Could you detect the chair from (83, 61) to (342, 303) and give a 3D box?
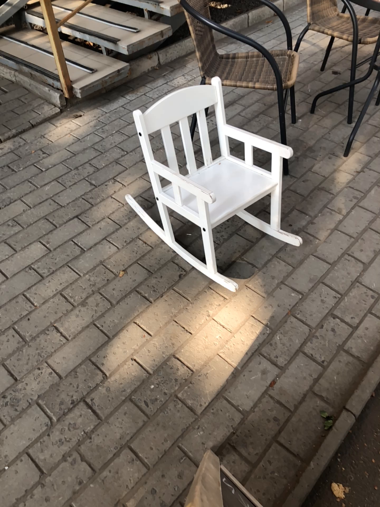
[{"bbox_3d":[0.050,-0.300,1.516,0.441,0.458,0.752,-34,53,-26],"label":"chair"}]
